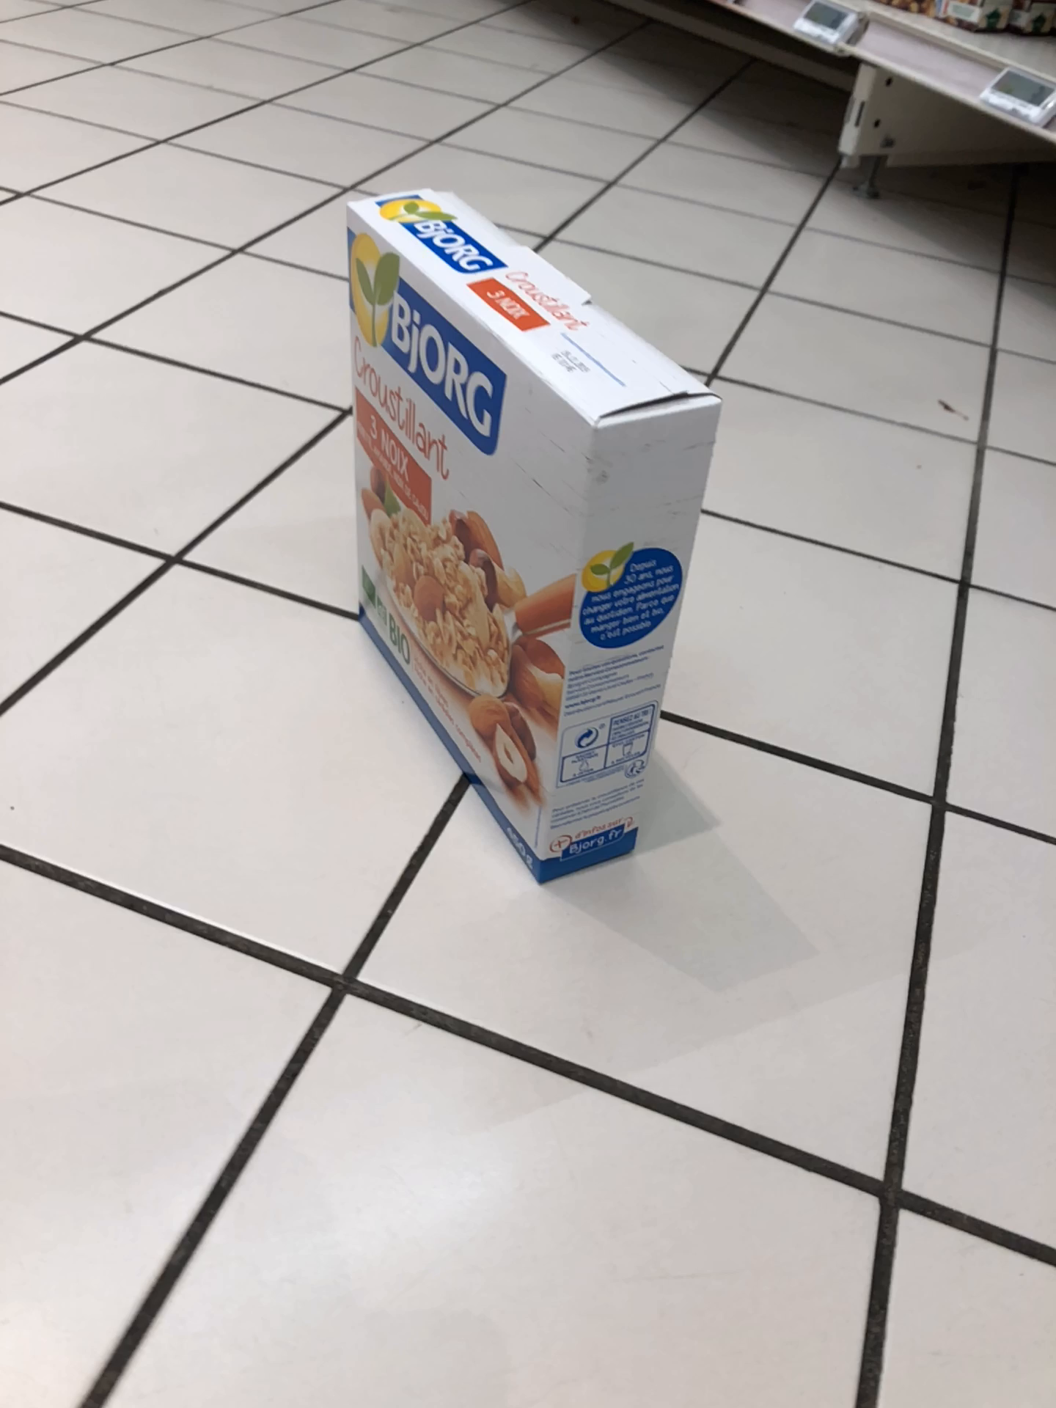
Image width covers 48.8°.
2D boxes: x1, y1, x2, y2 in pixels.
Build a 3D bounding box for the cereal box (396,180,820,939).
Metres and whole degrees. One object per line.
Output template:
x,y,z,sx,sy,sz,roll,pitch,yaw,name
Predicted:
0.010,-0.062,0.469,0.060,0.219,0.211,-13,43,-19,cereal box
